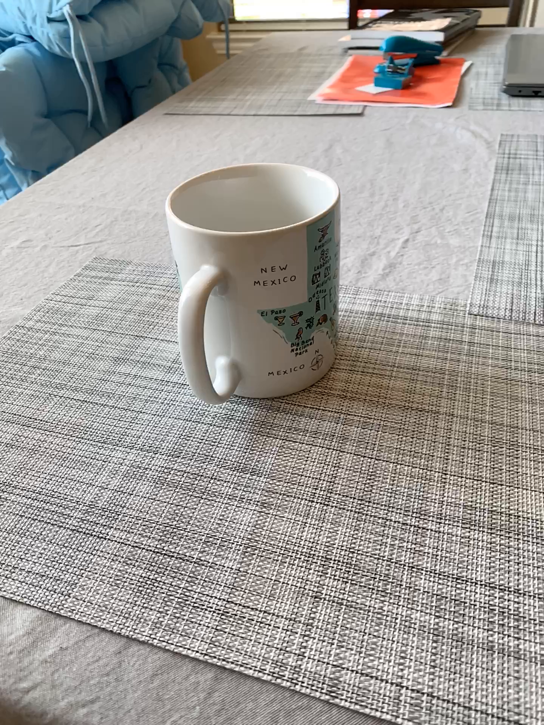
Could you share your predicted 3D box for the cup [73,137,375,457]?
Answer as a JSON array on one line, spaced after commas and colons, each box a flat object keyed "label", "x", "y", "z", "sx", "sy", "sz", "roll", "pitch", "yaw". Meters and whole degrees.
[{"label": "cup", "x": -0.020, "y": -0.053, "z": 0.382, "sx": 0.112, "sy": 0.136, "sz": 0.151, "roll": 24, "pitch": 47, "yaw": 30}]
